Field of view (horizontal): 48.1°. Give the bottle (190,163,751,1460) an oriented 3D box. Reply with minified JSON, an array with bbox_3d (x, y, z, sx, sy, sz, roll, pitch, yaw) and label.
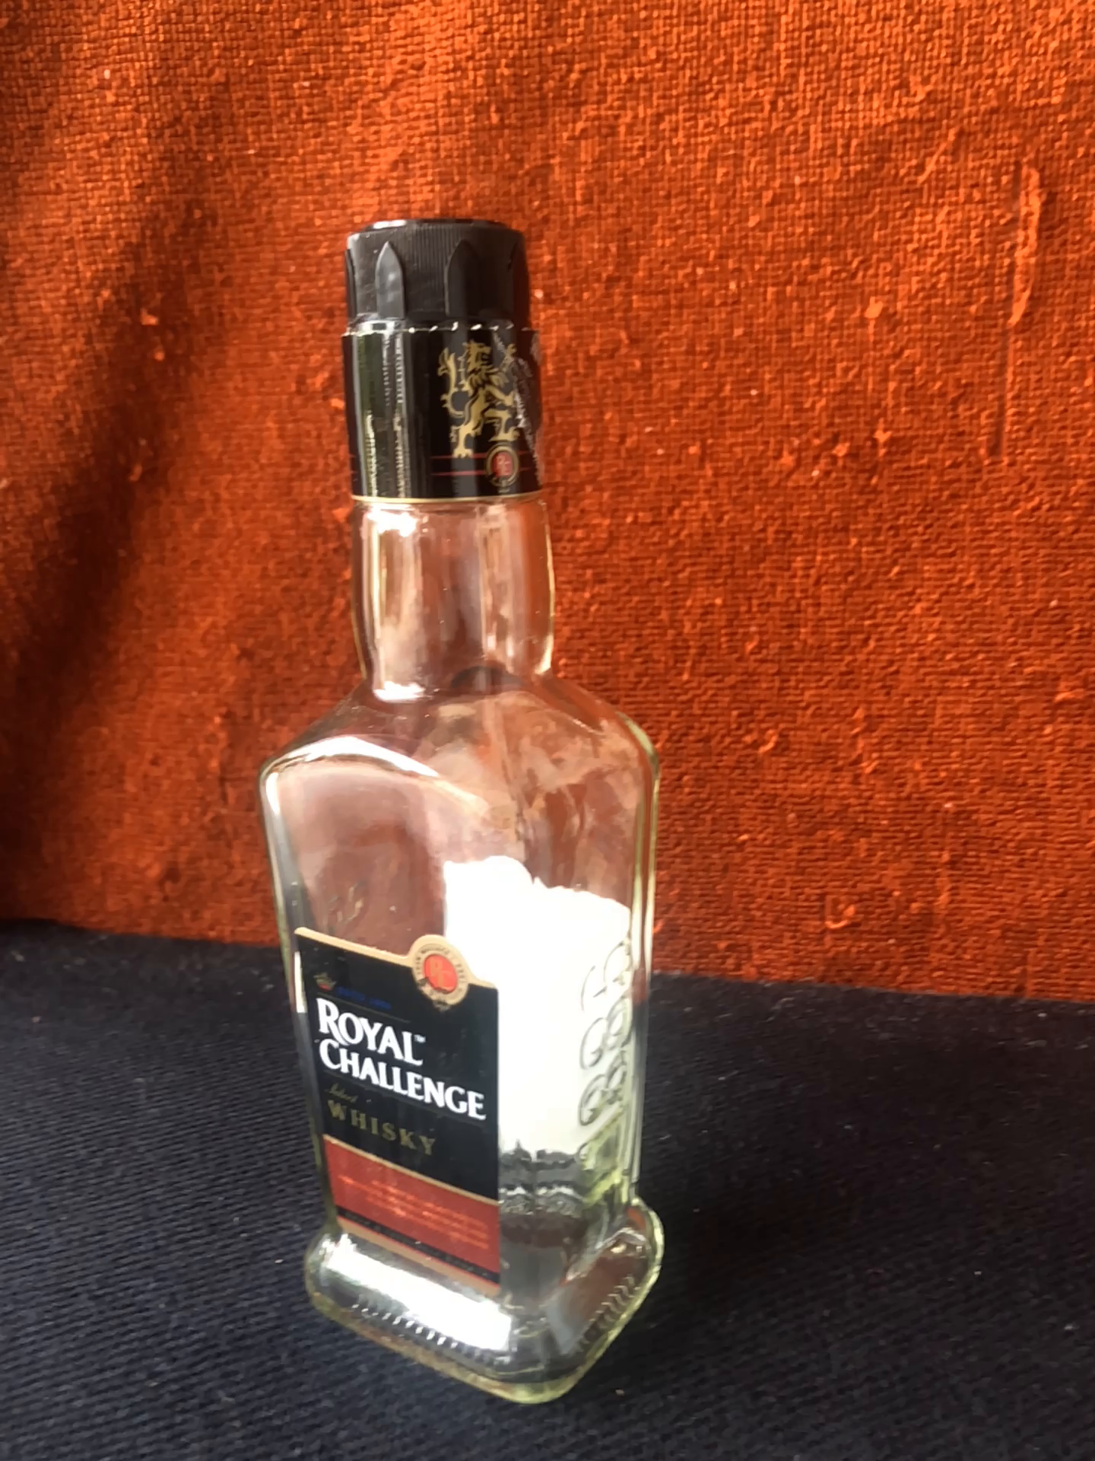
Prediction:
[{"bbox_3d":[-0.009,0.018,0.197,0.060,0.189,0.050,9,19,29],"label":"bottle"}]
